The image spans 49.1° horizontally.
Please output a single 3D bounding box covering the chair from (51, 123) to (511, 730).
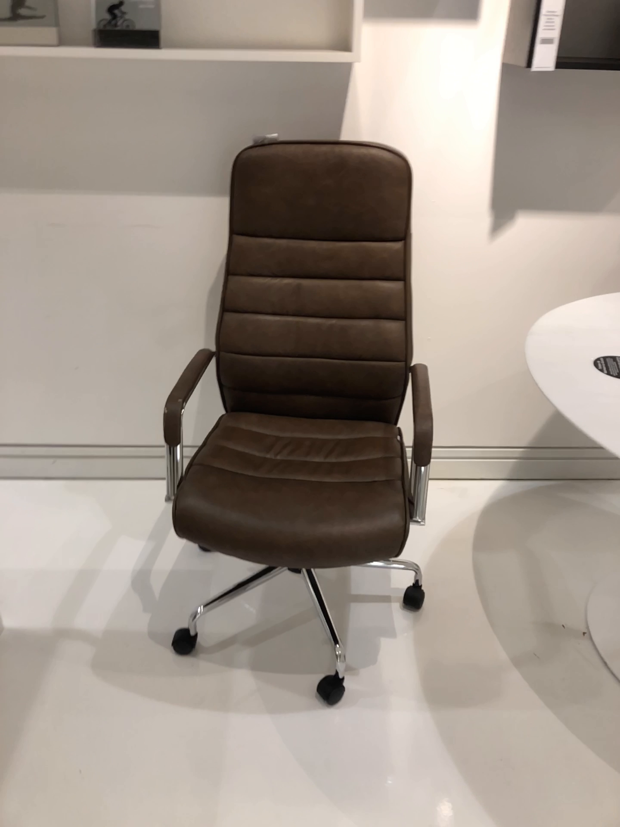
[{"bbox_3d":[-0.013,-0.011,1.640,0.700,1.171,0.786,4,29,6],"label":"chair"}]
